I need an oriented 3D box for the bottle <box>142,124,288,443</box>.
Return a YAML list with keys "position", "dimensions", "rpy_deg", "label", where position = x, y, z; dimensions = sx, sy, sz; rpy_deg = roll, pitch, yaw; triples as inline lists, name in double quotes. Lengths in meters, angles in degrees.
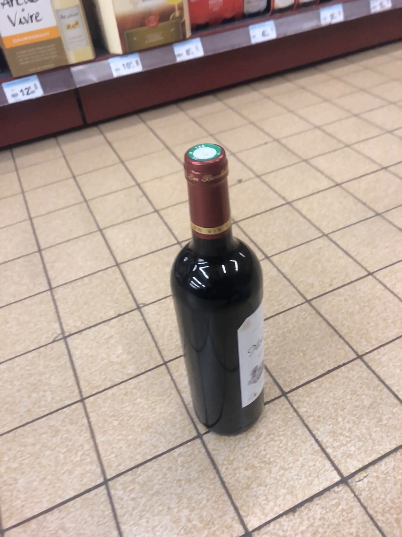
- position: [0.023, 0.036, 0.366]
  dimensions: [0.080, 0.281, 0.081]
  rpy_deg: [-4, 41, 4]
  label: "bottle"
